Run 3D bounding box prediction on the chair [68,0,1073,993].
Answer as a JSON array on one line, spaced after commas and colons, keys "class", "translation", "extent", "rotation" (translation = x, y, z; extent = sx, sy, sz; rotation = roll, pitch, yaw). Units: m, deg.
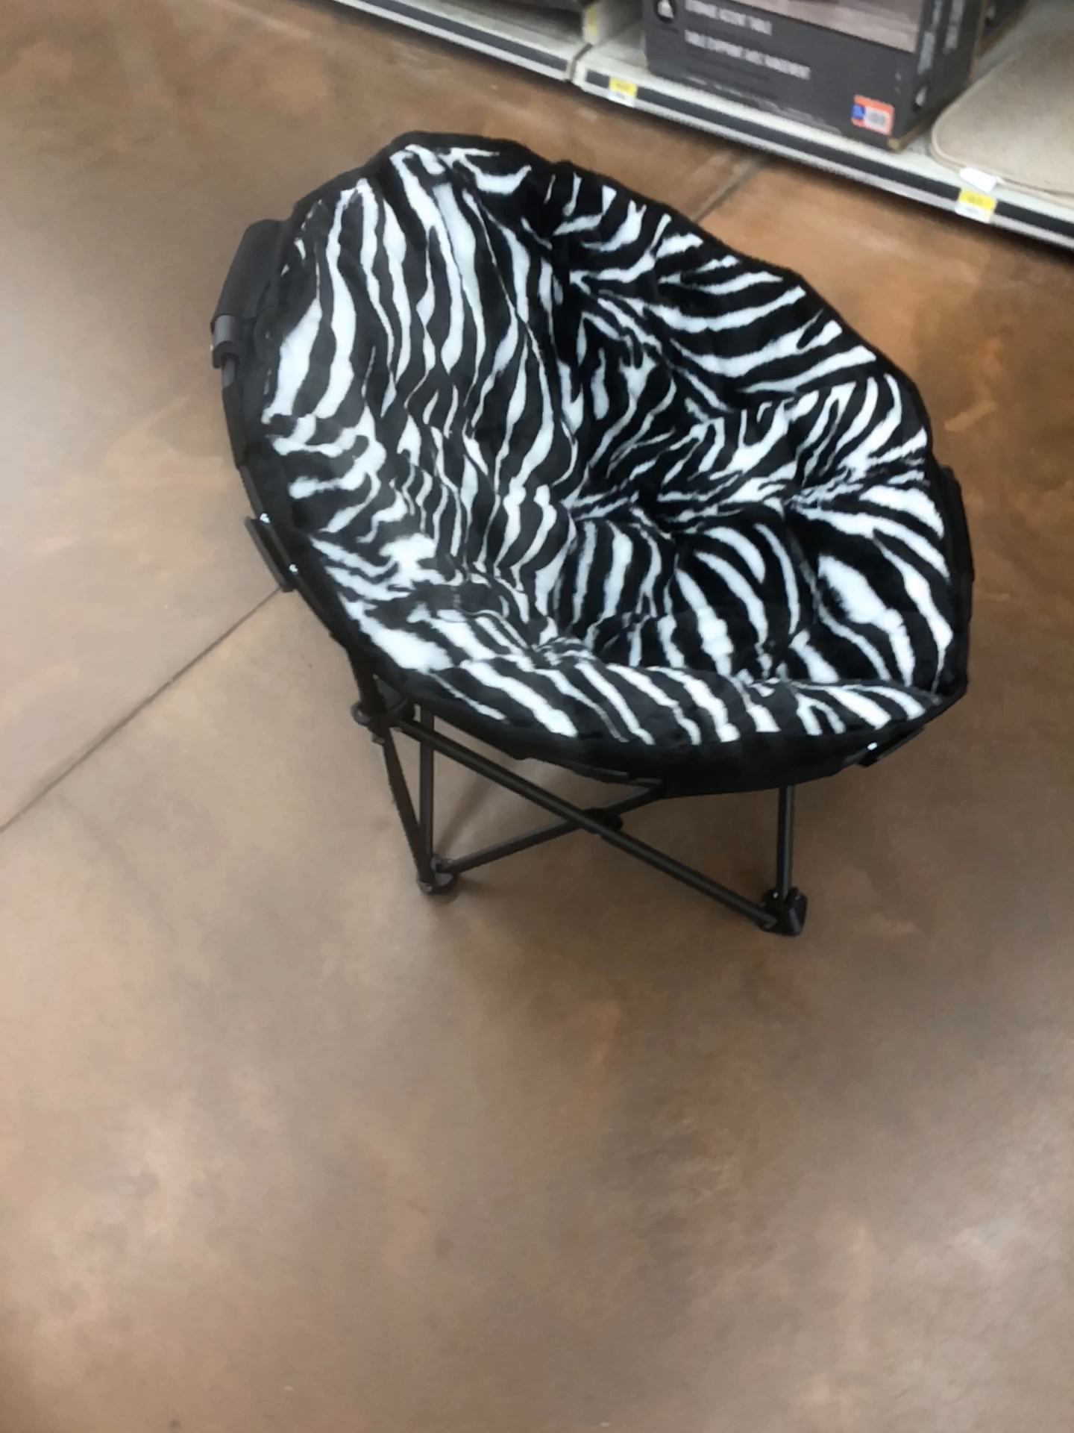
[{"class": "chair", "translation": [0.077, -0.170, 1.072], "extent": [0.600, 0.598, 0.611], "rotation": [1, 56, 7]}]
